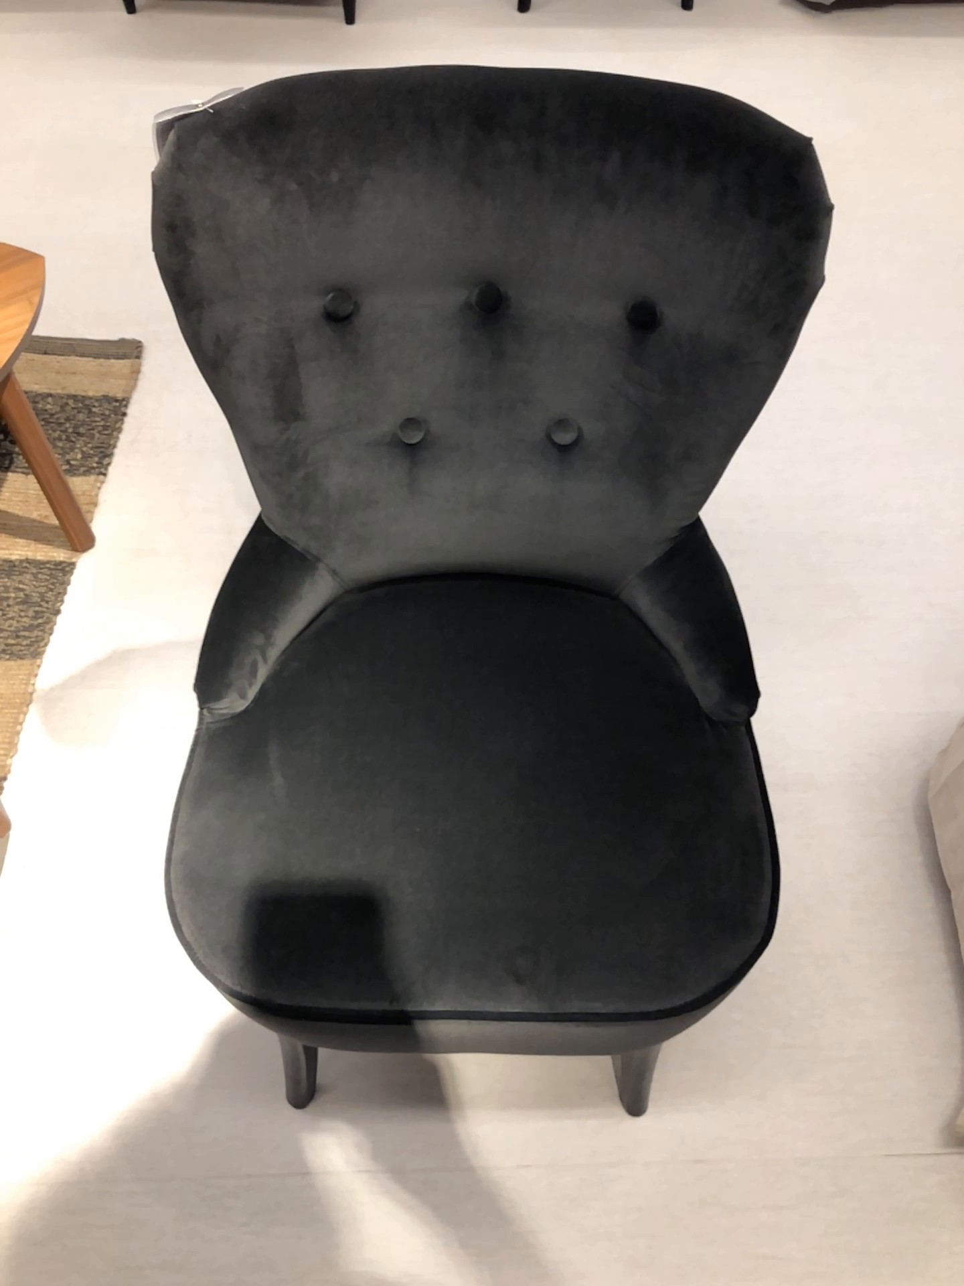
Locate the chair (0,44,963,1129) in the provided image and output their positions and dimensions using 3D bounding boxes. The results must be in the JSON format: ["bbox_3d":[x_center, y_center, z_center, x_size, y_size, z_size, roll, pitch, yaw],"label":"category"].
[{"bbox_3d":[0.007,0.004,1.077,0.600,0.776,0.794,0,58,-1],"label":"chair"}]
